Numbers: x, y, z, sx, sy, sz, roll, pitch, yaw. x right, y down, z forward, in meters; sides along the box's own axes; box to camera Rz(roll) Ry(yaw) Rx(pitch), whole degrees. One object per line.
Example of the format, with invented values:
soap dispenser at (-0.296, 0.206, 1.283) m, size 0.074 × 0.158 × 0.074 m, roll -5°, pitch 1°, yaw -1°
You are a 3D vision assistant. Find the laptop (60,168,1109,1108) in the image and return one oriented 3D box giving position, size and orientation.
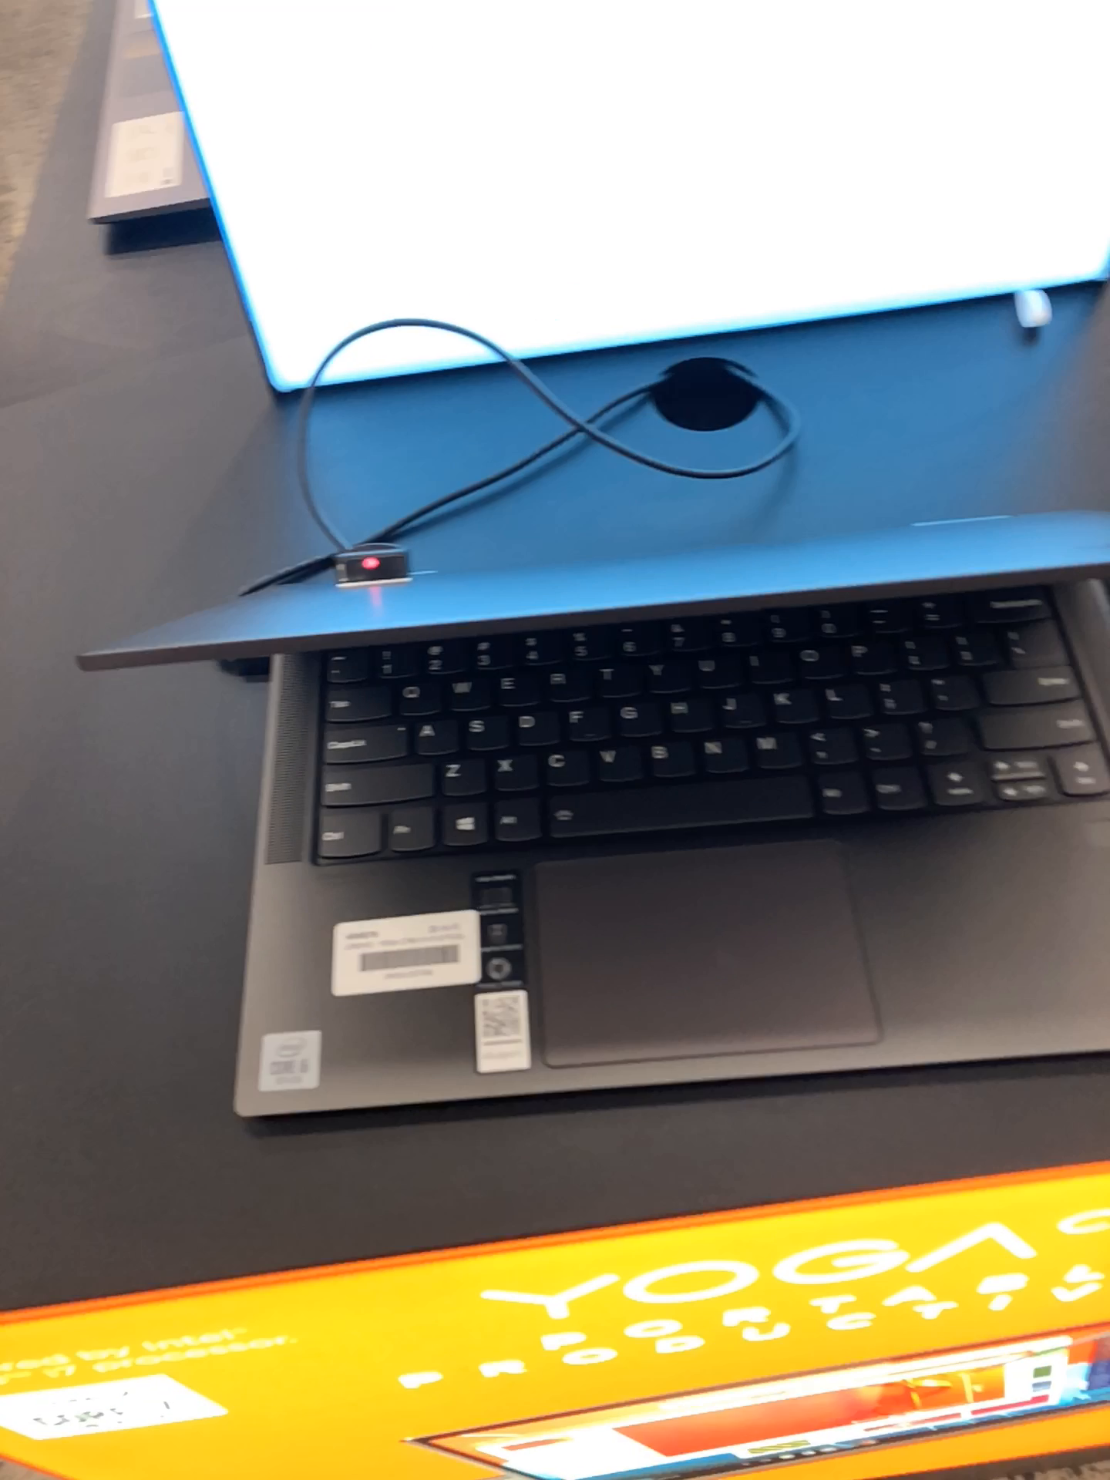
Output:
laptop at (0.049, -0.029, 0.373) m, size 0.319 × 0.144 × 0.210 m, roll -5°, pitch 54°, yaw 2°
